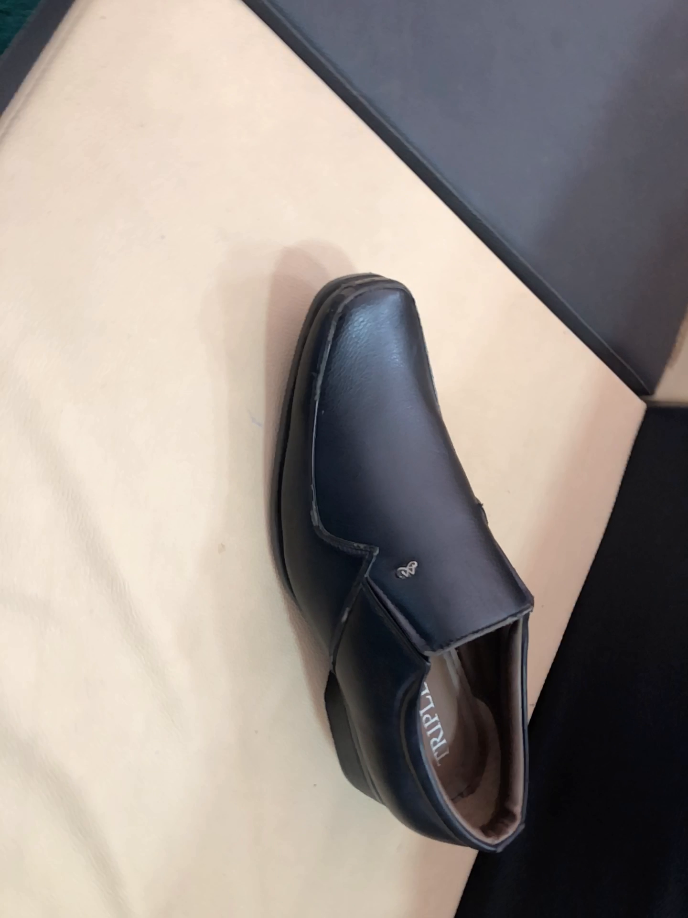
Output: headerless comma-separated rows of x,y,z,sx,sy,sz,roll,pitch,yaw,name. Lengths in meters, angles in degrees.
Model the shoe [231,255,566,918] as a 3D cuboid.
0.031,0.060,0.385,0.101,0.089,0.300,-15,103,-33,shoe
